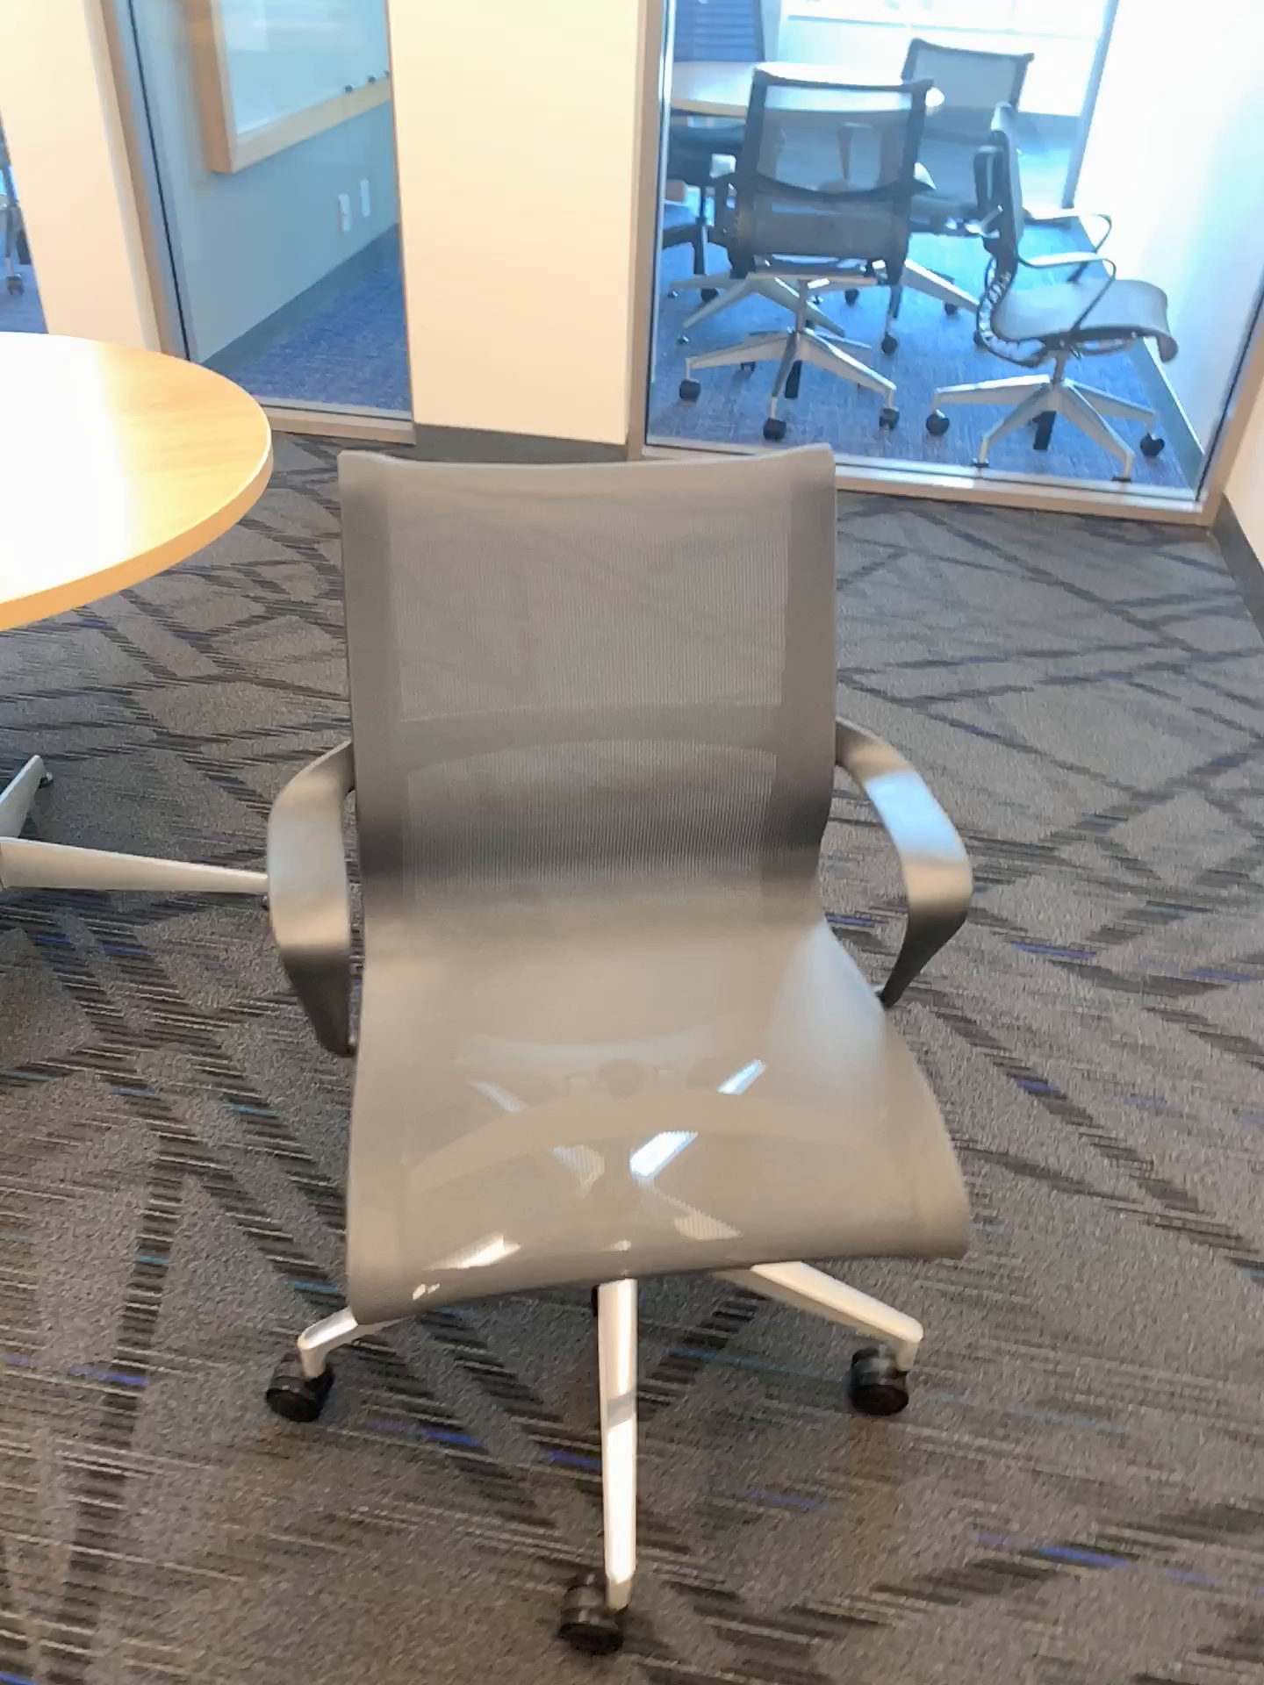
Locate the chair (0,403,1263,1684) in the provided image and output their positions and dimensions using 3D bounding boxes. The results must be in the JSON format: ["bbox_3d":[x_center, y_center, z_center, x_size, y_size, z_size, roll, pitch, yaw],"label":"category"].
[{"bbox_3d":[-0.033,0.145,1.058,0.680,0.753,0.706,-5,38,-10],"label":"chair"}]
